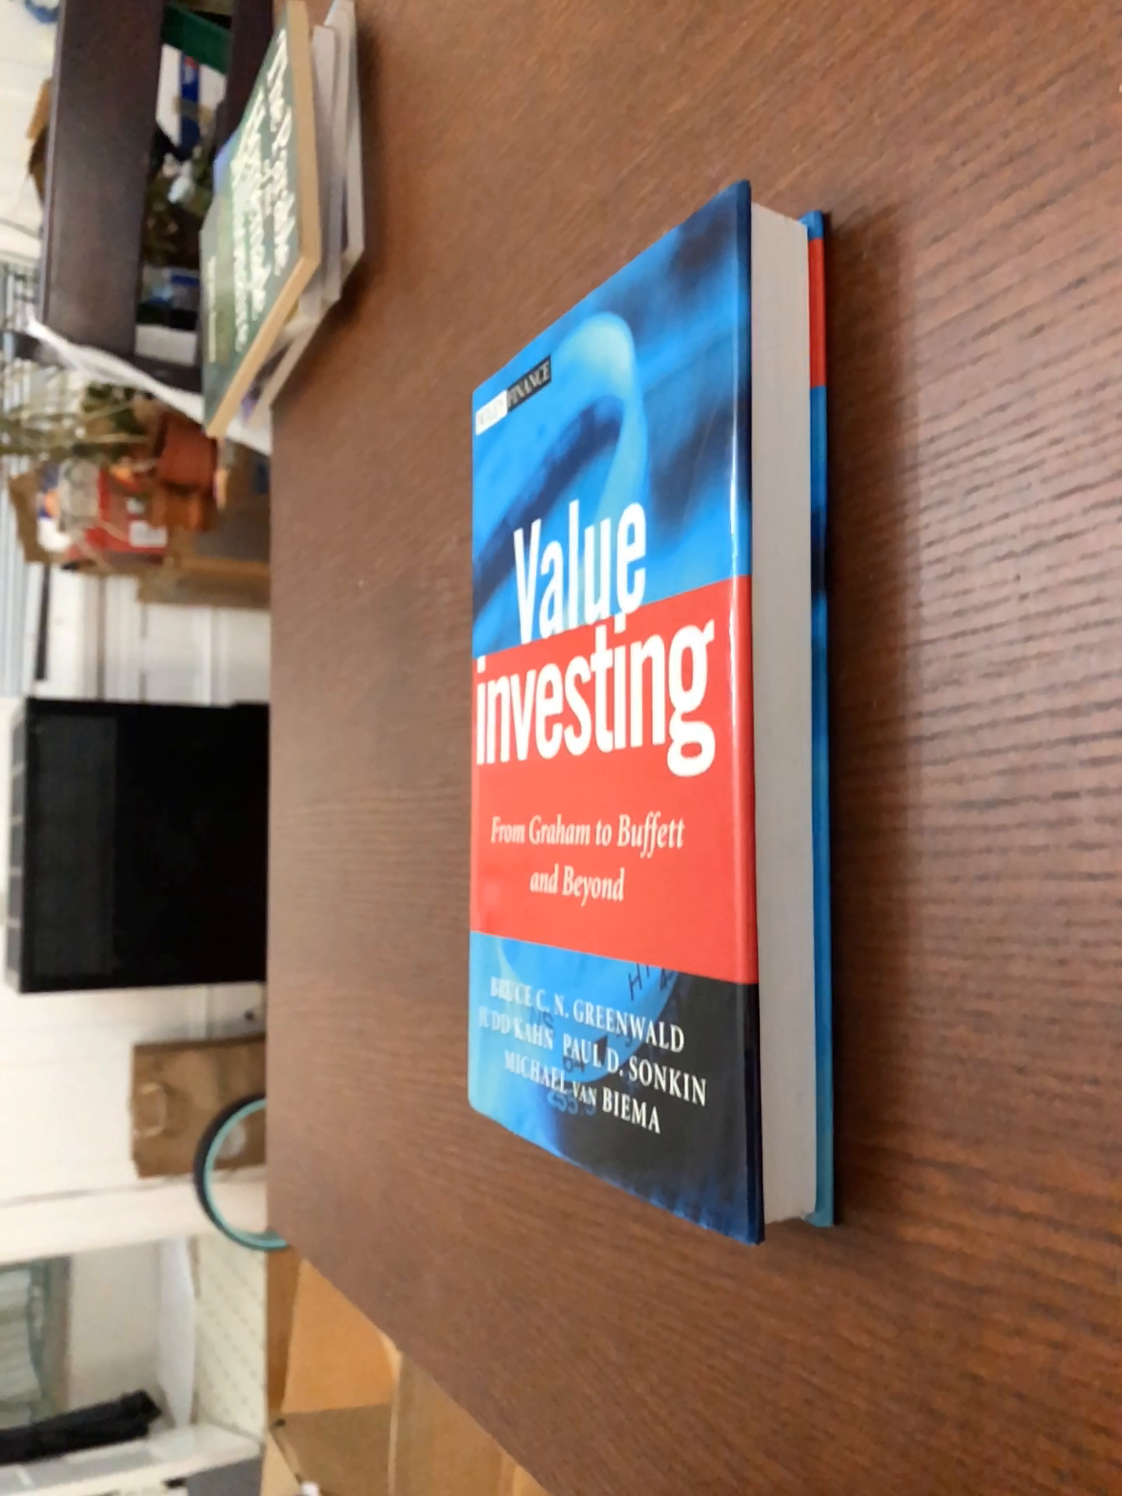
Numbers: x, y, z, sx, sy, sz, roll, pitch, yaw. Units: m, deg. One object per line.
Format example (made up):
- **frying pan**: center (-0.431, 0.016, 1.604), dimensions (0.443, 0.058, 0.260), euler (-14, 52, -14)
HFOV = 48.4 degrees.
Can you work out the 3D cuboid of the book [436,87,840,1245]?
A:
- **book**: center (0.009, -0.015, 0.327), dimensions (0.171, 0.020, 0.230), euler (-5, 83, 63)
